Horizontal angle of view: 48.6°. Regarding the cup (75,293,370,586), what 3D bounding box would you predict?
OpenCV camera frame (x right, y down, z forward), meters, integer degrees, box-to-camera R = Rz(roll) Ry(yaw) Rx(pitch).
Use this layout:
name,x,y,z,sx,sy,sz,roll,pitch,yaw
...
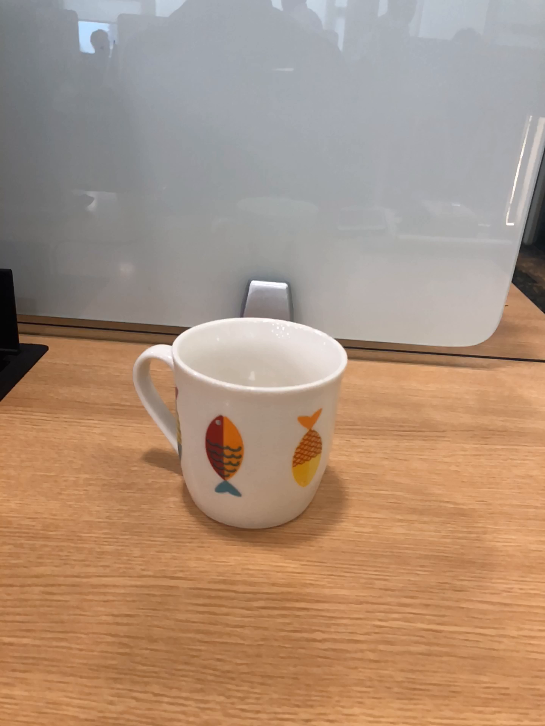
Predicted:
name,x,y,z,sx,sy,sz,roll,pitch,yaw
cup,-0.021,0.029,0.292,0.110,0.090,0.080,13,26,17
